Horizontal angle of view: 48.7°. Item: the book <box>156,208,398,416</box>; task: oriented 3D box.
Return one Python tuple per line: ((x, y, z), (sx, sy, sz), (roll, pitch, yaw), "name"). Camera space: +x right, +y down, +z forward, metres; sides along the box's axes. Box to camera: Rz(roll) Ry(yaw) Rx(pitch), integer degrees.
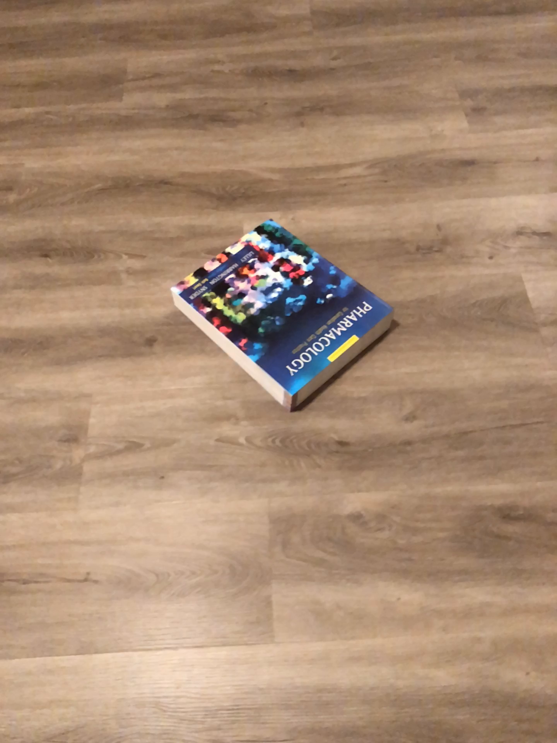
((-0.005, -0.102, 0.927), (0.228, 0.046, 0.278), (-39, 64, -20), "book")
